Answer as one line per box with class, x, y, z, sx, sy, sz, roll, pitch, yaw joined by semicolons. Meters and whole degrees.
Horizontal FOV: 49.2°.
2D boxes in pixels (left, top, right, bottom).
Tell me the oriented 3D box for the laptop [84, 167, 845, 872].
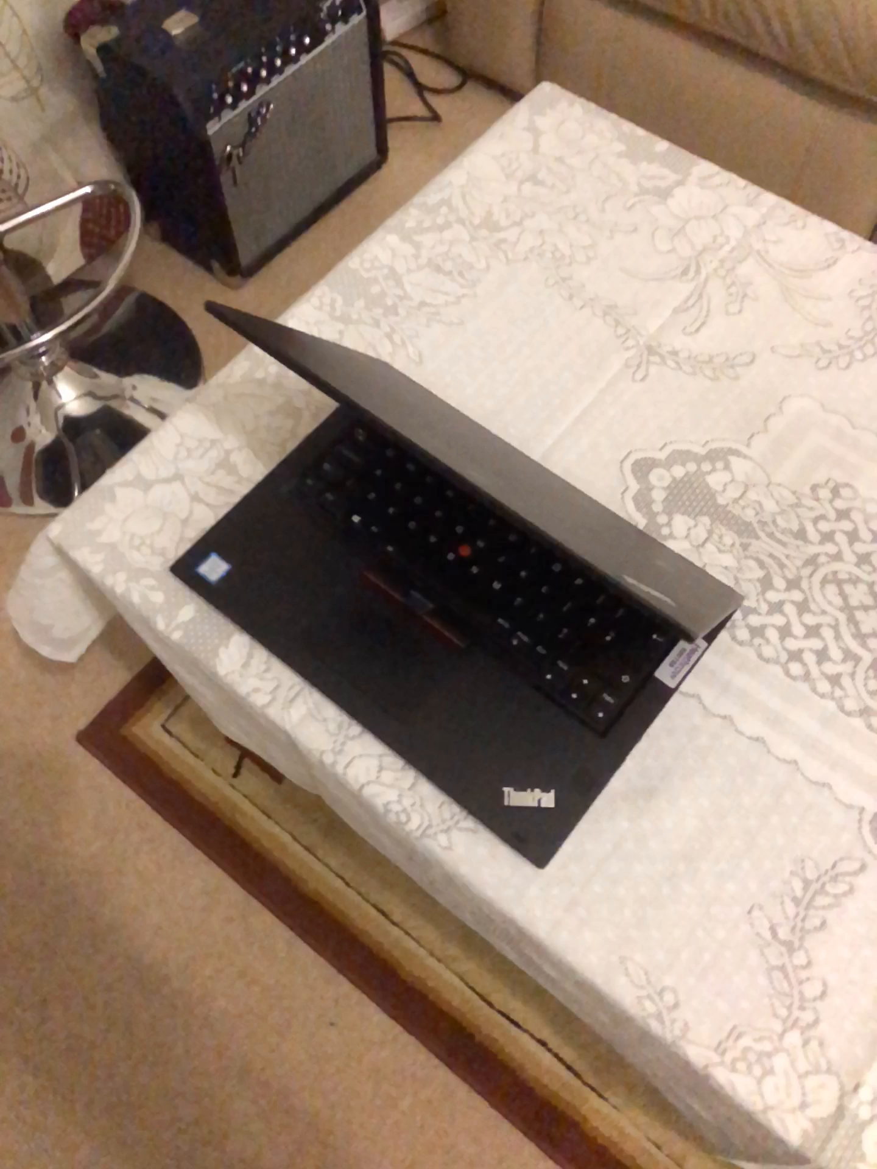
laptop;0.008;-0.040;0.551;0.309;0.174;0.220;36;70;18
